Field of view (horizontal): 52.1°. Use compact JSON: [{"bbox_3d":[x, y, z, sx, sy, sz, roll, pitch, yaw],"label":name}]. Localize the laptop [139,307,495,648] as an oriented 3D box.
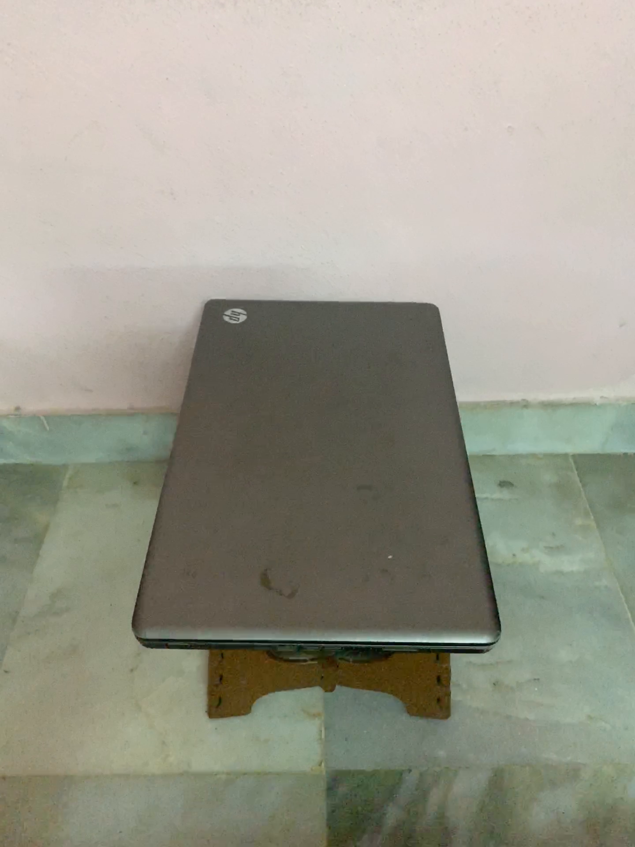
[{"bbox_3d":[0.003,0.013,0.574,0.242,0.003,0.381,1,46,0],"label":"laptop"}]
